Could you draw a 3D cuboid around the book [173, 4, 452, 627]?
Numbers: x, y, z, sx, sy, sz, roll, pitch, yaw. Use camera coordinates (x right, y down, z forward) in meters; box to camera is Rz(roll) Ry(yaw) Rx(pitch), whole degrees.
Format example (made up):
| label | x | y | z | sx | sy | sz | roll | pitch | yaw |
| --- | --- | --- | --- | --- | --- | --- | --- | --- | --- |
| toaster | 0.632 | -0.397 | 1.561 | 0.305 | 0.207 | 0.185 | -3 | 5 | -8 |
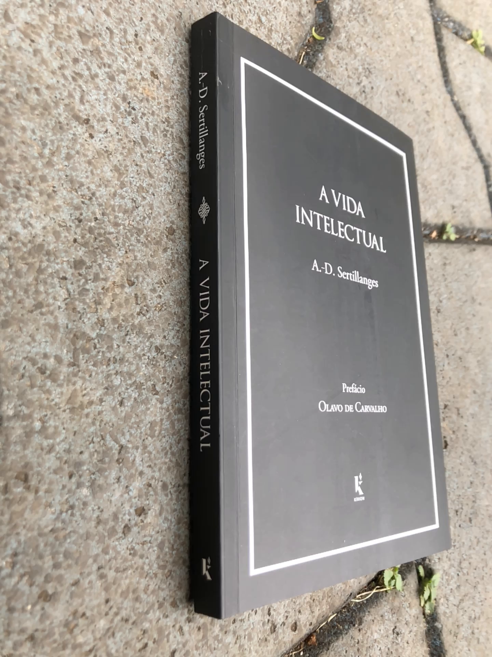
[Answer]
| label | x | y | z | sx | sy | sz | roll | pitch | yaw |
| --- | --- | --- | --- | --- | --- | --- | --- | --- | --- |
| book | 0.034 | -0.005 | 0.223 | 0.137 | 0.020 | 0.196 | 9 | 76 | -42 |
